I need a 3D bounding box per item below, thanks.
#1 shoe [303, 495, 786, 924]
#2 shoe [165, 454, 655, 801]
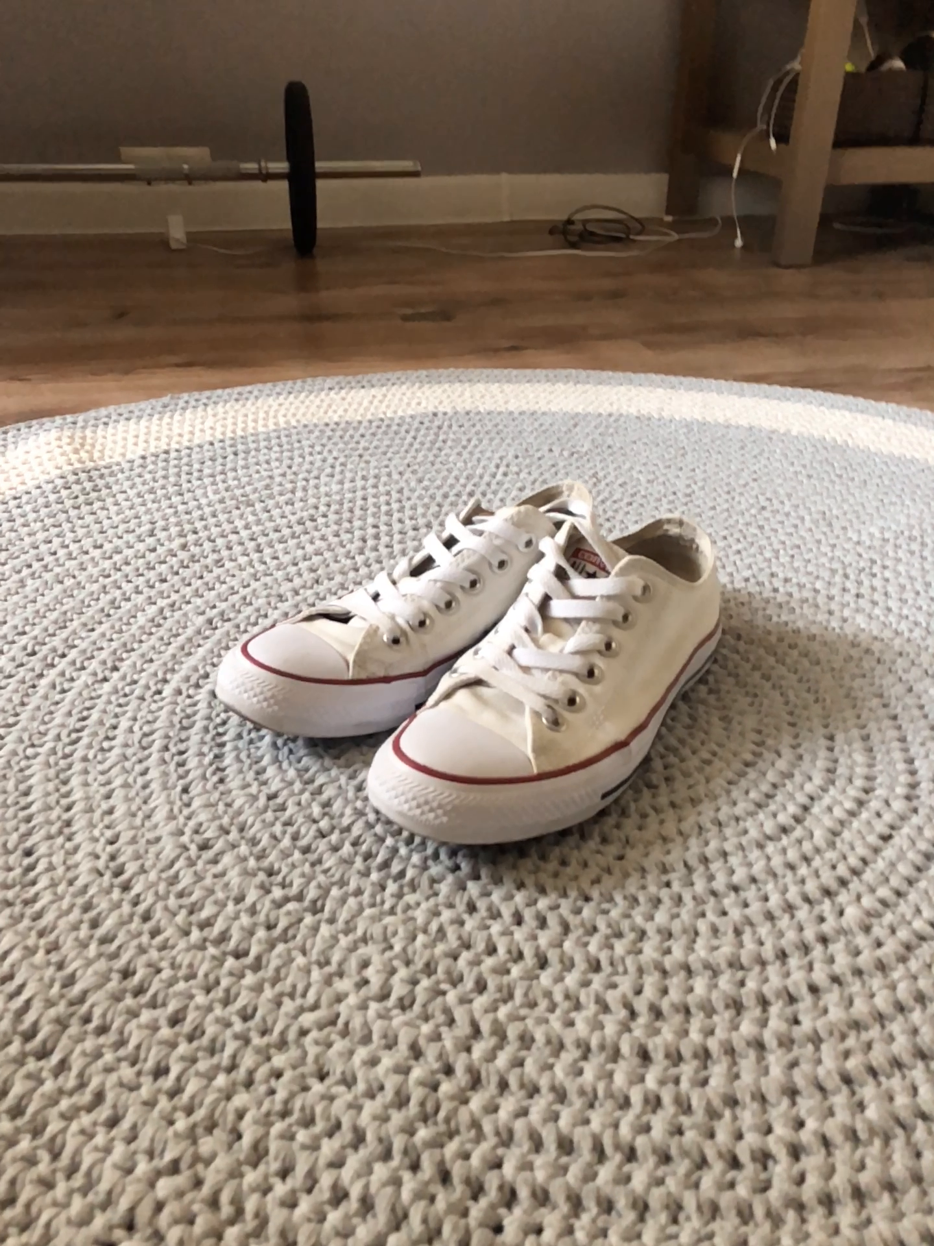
[{"bbox_3d":[0.048,0.020,0.476,0.100,0.070,0.241,21,34,31],"label":"shoe"},{"bbox_3d":[-0.017,-0.013,0.538,0.100,0.070,0.248,25,37,36],"label":"shoe"}]
